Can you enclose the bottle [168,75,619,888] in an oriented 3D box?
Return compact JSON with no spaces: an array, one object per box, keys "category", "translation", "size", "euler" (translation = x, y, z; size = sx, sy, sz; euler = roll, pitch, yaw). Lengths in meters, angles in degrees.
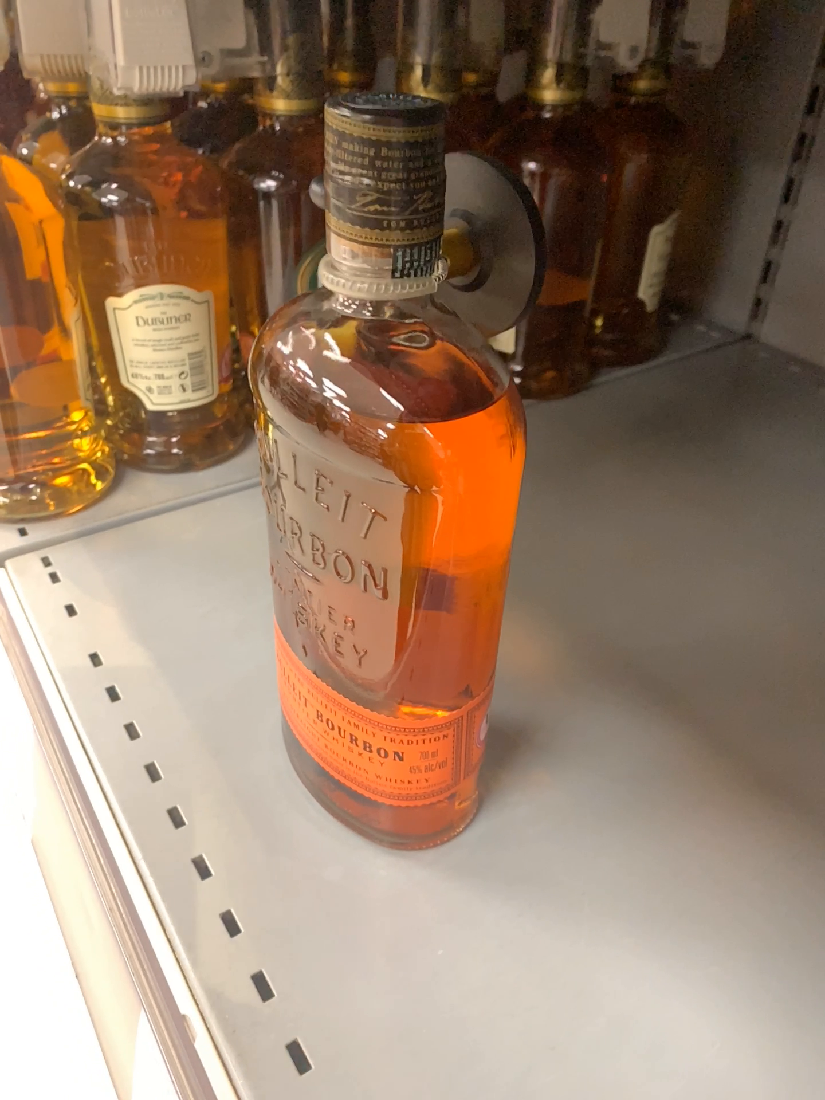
[{"category":"bottle","translation":[-0.013,-0.013,0.270],"size":[0.060,0.228,0.101],"euler":[-23,42,-31]}]
